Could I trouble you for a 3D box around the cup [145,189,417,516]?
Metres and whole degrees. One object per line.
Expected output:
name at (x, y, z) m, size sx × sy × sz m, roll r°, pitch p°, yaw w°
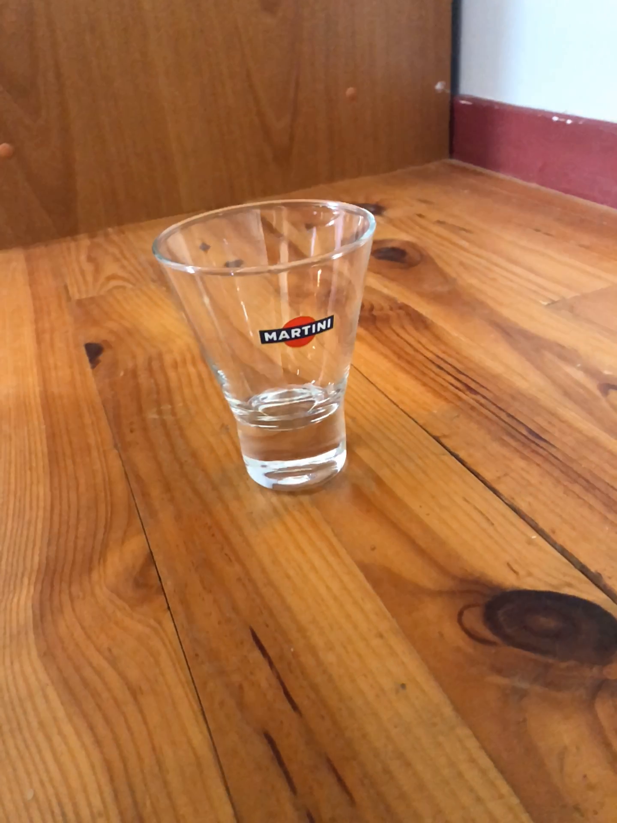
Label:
cup at (-0.012, -0.030, 0.294) m, size 0.091 × 0.097 × 0.088 m, roll -4°, pitch 32°, yaw 3°
